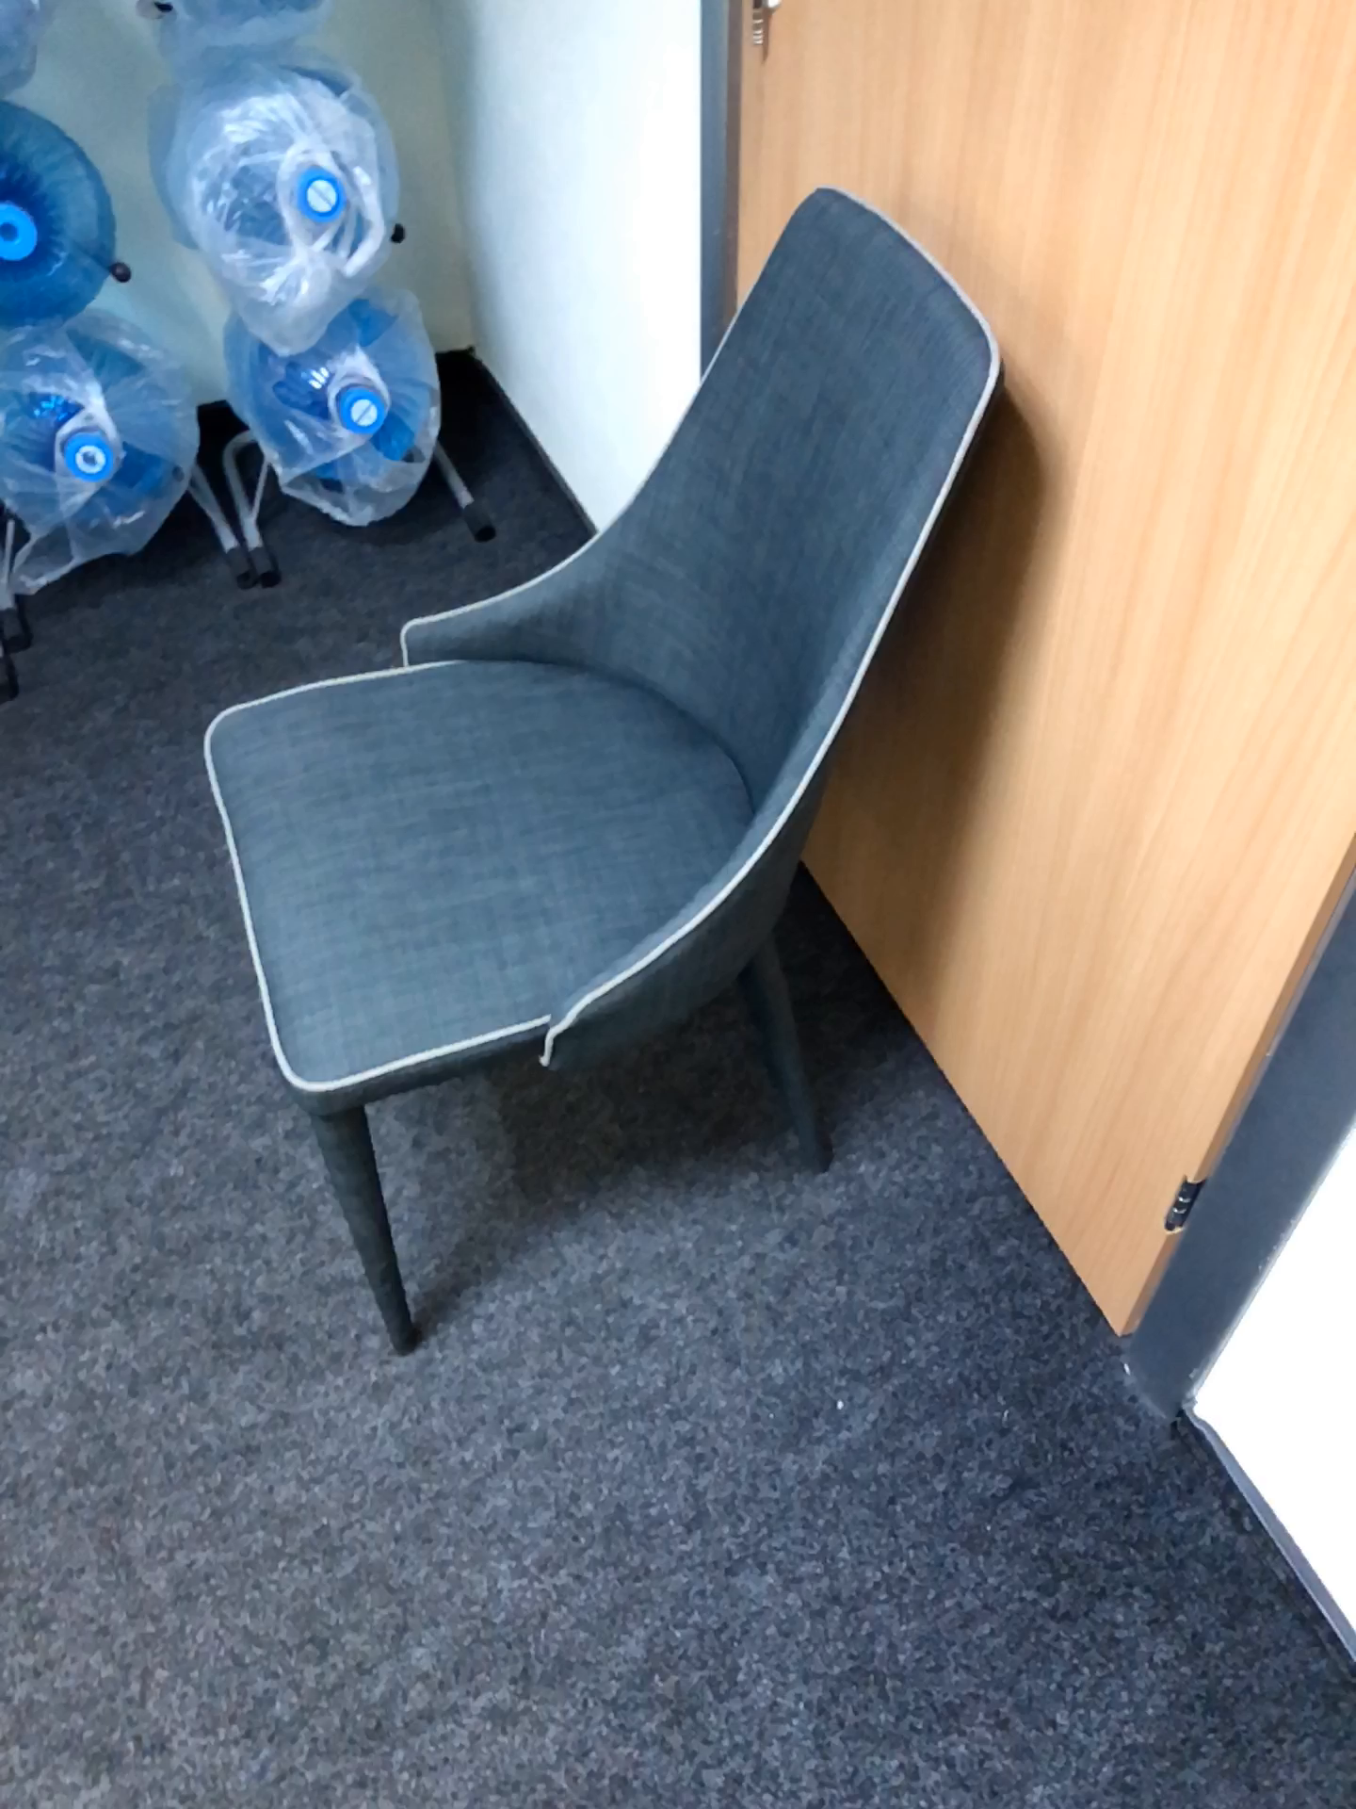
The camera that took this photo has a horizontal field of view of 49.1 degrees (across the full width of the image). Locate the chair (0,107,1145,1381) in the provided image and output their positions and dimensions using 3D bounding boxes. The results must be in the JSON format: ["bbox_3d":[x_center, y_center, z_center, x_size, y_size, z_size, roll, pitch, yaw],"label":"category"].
[{"bbox_3d":[-0.103,-0.108,1.304,0.641,0.845,0.523,-16,50,-13],"label":"chair"}]
